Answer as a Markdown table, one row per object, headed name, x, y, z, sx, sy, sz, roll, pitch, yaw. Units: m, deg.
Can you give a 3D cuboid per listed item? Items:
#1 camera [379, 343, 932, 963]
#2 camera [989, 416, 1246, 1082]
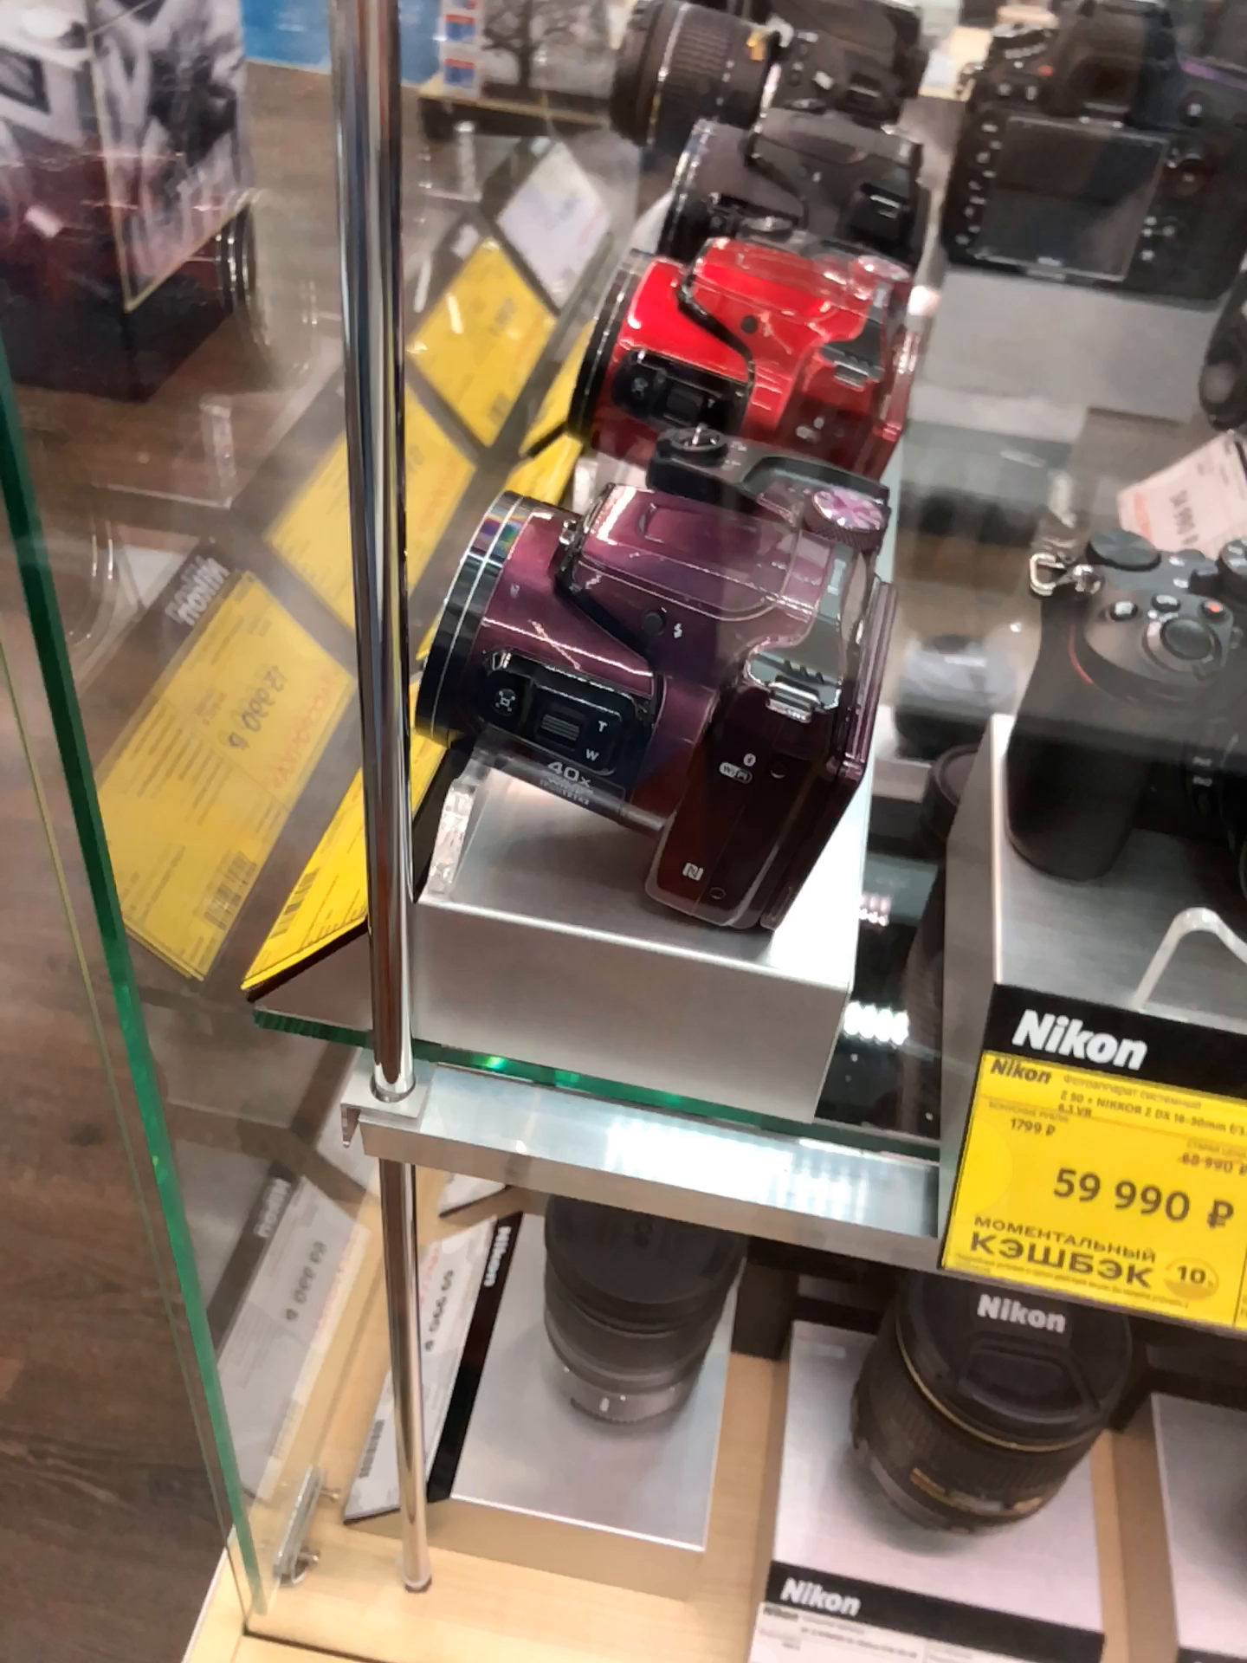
| name | x | y | z | sx | sy | sz | roll | pitch | yaw |
| --- | --- | --- | --- | --- | --- | --- | --- | --- | --- |
| camera | 0.010 | -0.046 | 0.329 | 0.100 | 0.080 | 0.110 | 13 | 43 | 6 |
| camera | 0.165 | -0.023 | 0.322 | 0.133 | 0.084 | 0.101 | 13 | 43 | 6 |
